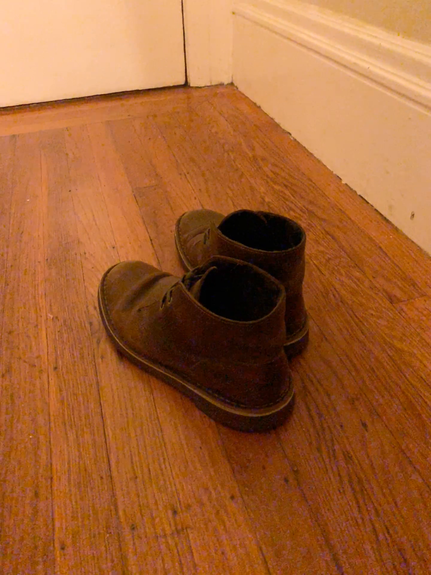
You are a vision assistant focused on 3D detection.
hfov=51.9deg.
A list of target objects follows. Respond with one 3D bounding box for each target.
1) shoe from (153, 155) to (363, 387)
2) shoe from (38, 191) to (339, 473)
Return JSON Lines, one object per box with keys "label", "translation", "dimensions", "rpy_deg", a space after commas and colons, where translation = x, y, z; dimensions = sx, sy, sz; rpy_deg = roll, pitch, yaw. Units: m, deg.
{"label": "shoe", "translation": [0.031, -0.042, 0.554], "dimensions": [0.120, 0.119, 0.292], "rpy_deg": [-17, 43, -17]}
{"label": "shoe", "translation": [-0.042, 0.024, 0.469], "dimensions": [0.301, 0.119, 0.120], "rpy_deg": [32, 51, 33]}
